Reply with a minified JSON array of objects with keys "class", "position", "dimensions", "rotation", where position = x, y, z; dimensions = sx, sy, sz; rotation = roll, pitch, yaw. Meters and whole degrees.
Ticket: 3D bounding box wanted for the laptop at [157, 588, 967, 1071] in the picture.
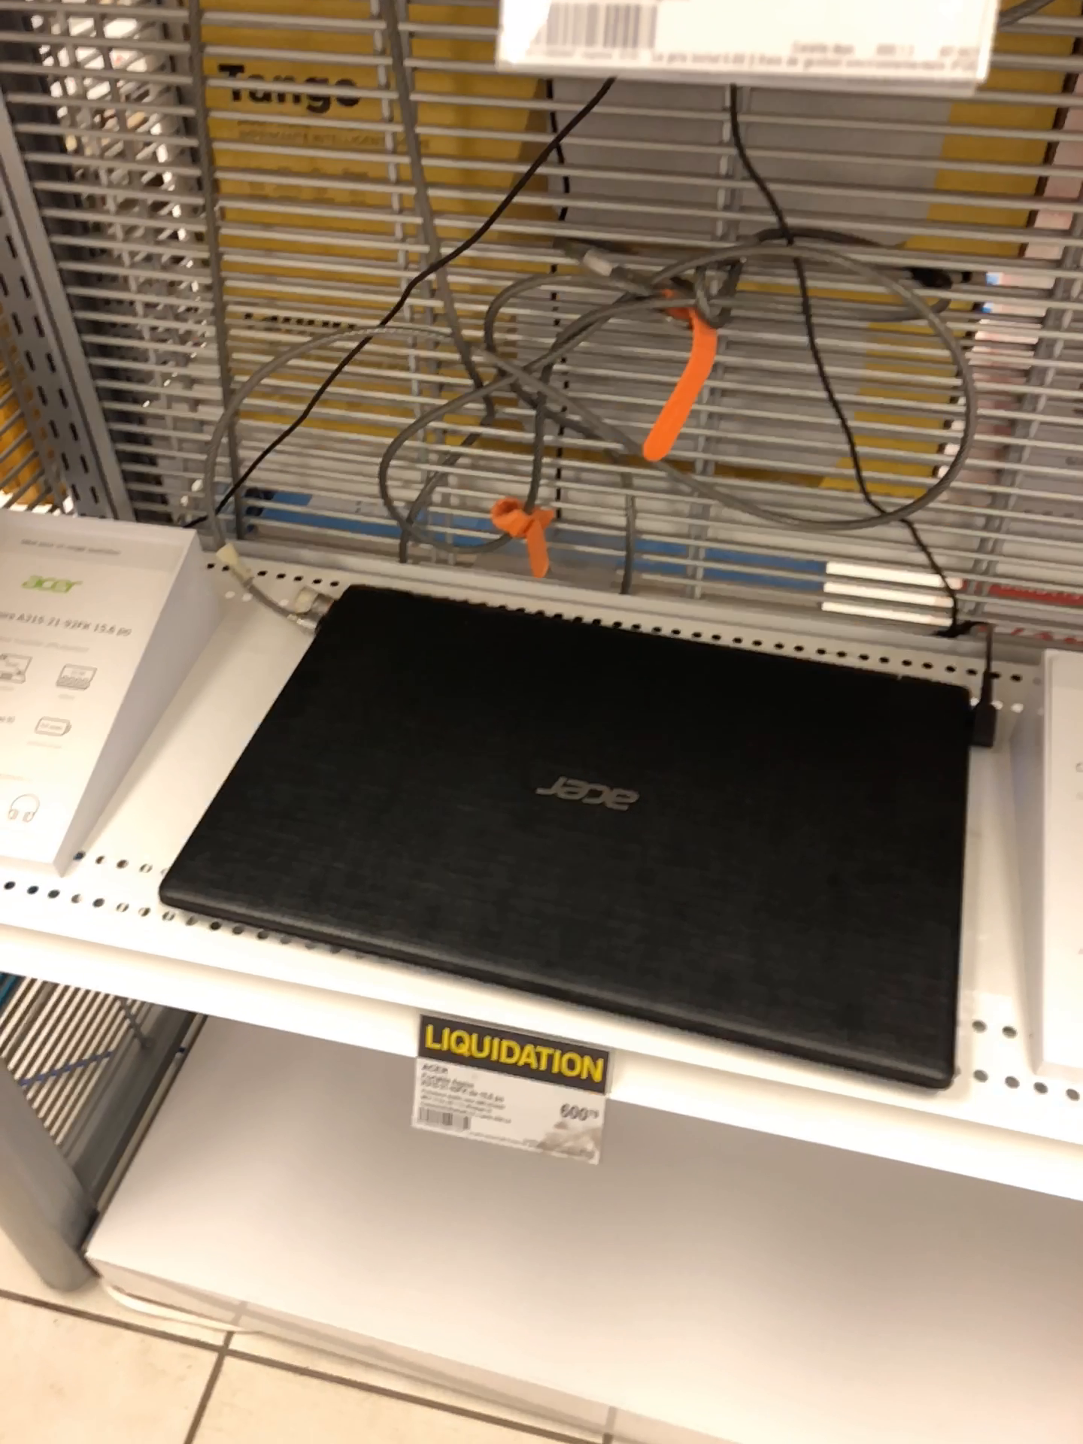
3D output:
[{"class":"laptop","position":[0.027,0.033,0.633],"dimensions":[0.374,0.003,0.248],"rotation":[11,45,12]}]
